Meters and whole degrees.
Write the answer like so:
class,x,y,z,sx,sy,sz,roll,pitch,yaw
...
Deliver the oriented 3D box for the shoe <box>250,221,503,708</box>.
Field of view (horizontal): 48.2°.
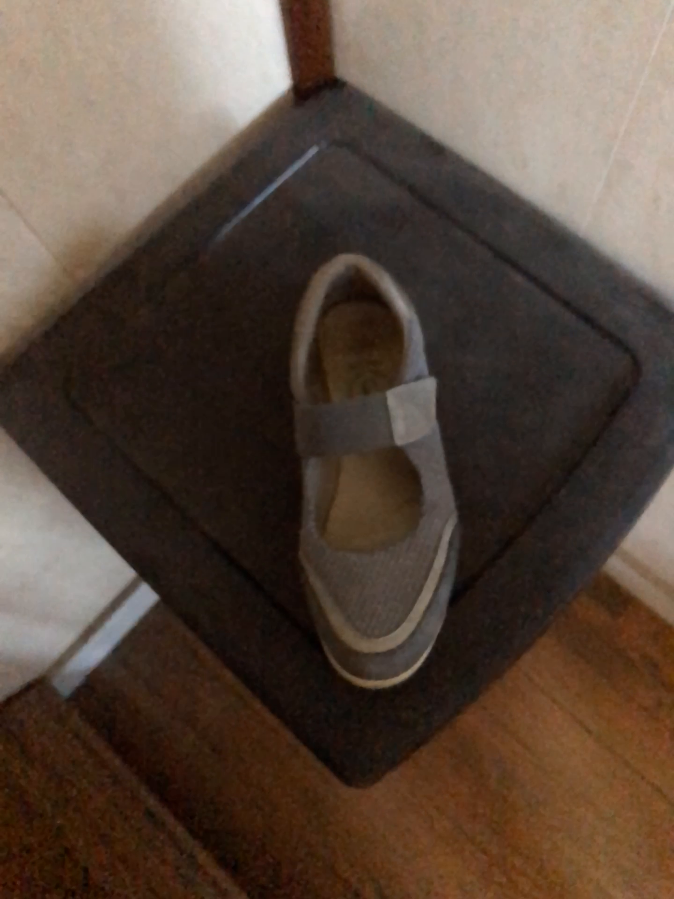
class,x,y,z,sx,sy,sz,roll,pitch,yaw
shoe,0.017,0.008,0.439,0.110,0.080,0.260,-6,72,3
